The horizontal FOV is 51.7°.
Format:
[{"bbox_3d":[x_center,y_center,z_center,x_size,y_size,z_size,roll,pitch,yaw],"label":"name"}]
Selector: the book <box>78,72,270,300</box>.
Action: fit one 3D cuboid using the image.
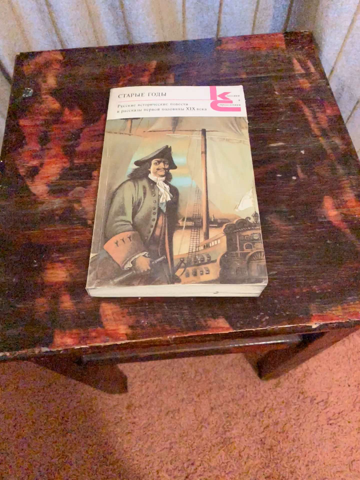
[{"bbox_3d":[-0.005,-0.053,0.295,0.123,0.026,0.198,-1,63,2],"label":"book"}]
